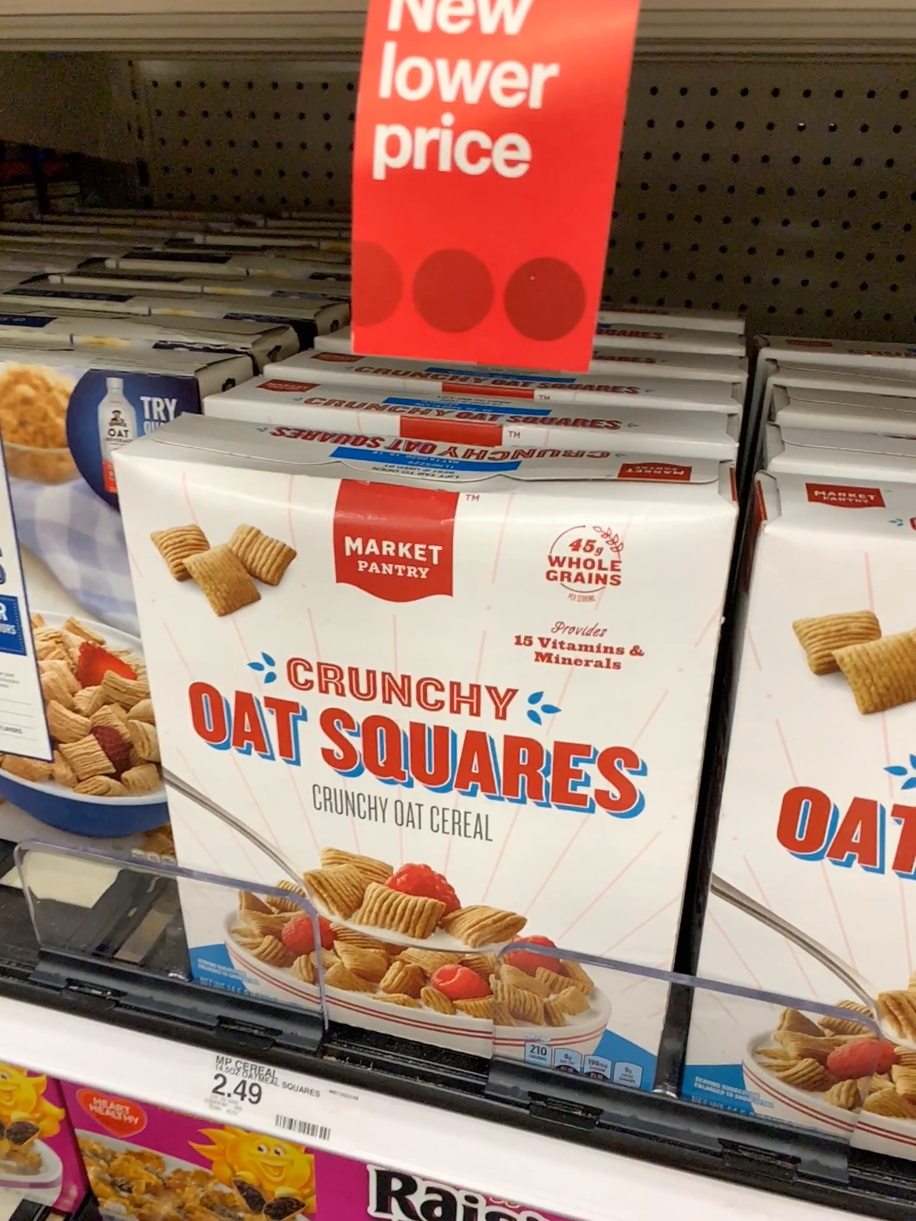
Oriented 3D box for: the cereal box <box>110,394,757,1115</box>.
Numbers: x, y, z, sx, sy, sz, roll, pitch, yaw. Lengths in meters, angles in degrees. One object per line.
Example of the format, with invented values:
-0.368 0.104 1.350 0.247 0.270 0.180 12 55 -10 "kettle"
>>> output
-0.009 0.058 0.351 0.190 0.249 0.060 7 28 12 "cereal box"
